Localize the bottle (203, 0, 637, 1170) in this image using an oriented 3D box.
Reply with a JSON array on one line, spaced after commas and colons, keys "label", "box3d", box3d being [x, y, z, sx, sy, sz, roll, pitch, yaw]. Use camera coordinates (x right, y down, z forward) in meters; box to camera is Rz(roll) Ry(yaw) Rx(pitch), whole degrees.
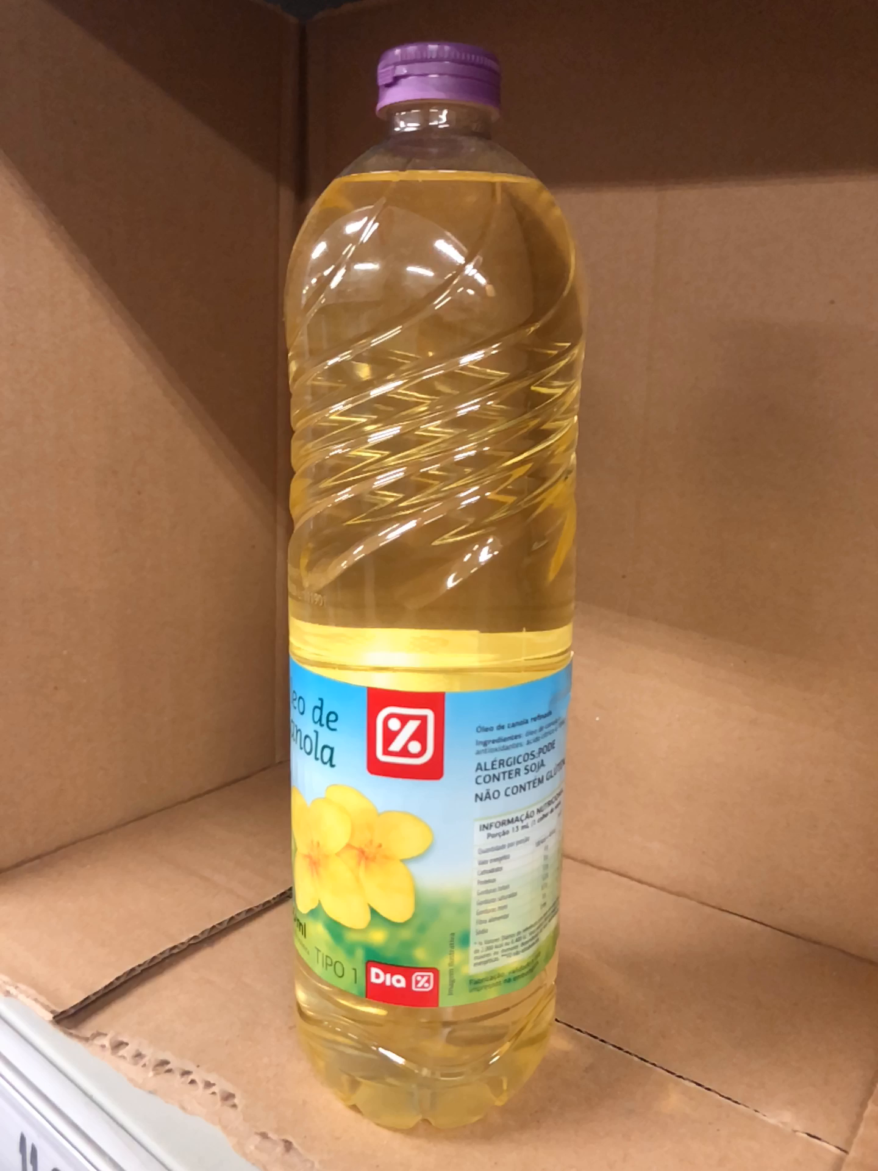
[{"label": "bottle", "box3d": [-0.006, 0.007, 0.246, 0.080, 0.269, 0.050, 11, 18, 35]}]
